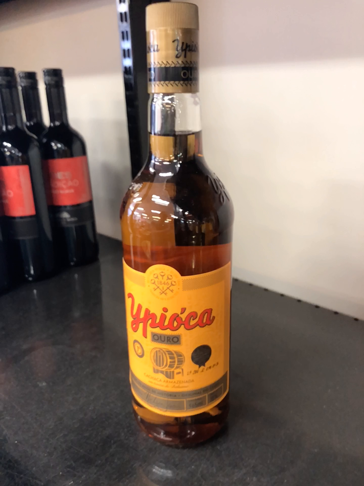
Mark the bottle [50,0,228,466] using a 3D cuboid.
[{"bbox_3d":[-0.014,0.004,0.284,0.080,0.308,0.070,4,22,14],"label":"bottle"}]
